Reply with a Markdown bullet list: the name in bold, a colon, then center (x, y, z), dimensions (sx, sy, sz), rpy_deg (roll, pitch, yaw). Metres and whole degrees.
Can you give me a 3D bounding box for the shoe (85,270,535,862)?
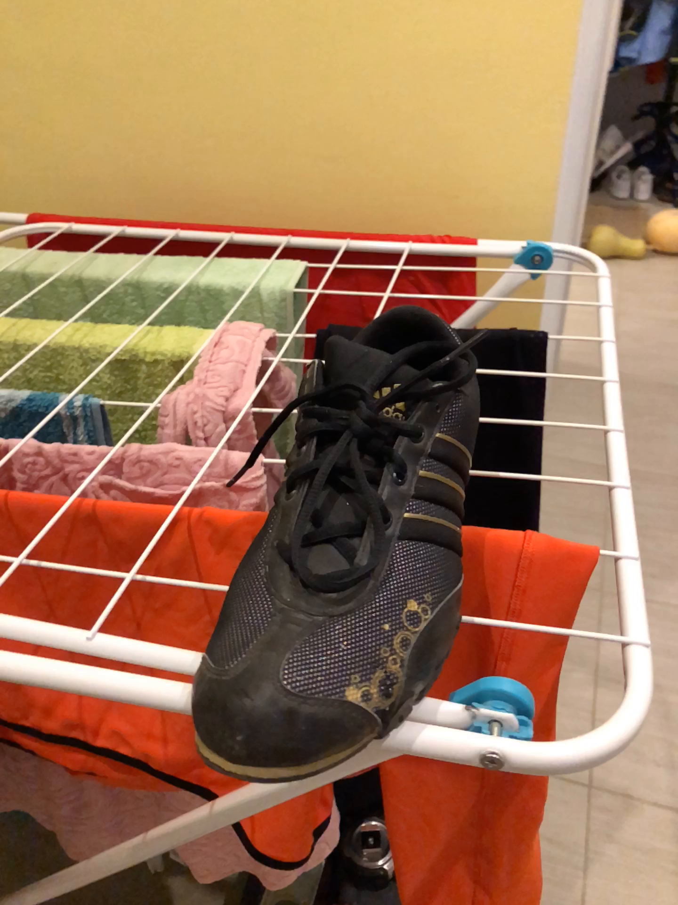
- **shoe**: center (0.015, 0.018, 0.341), dimensions (0.098, 0.099, 0.262), rpy_deg (11, 38, 17)
